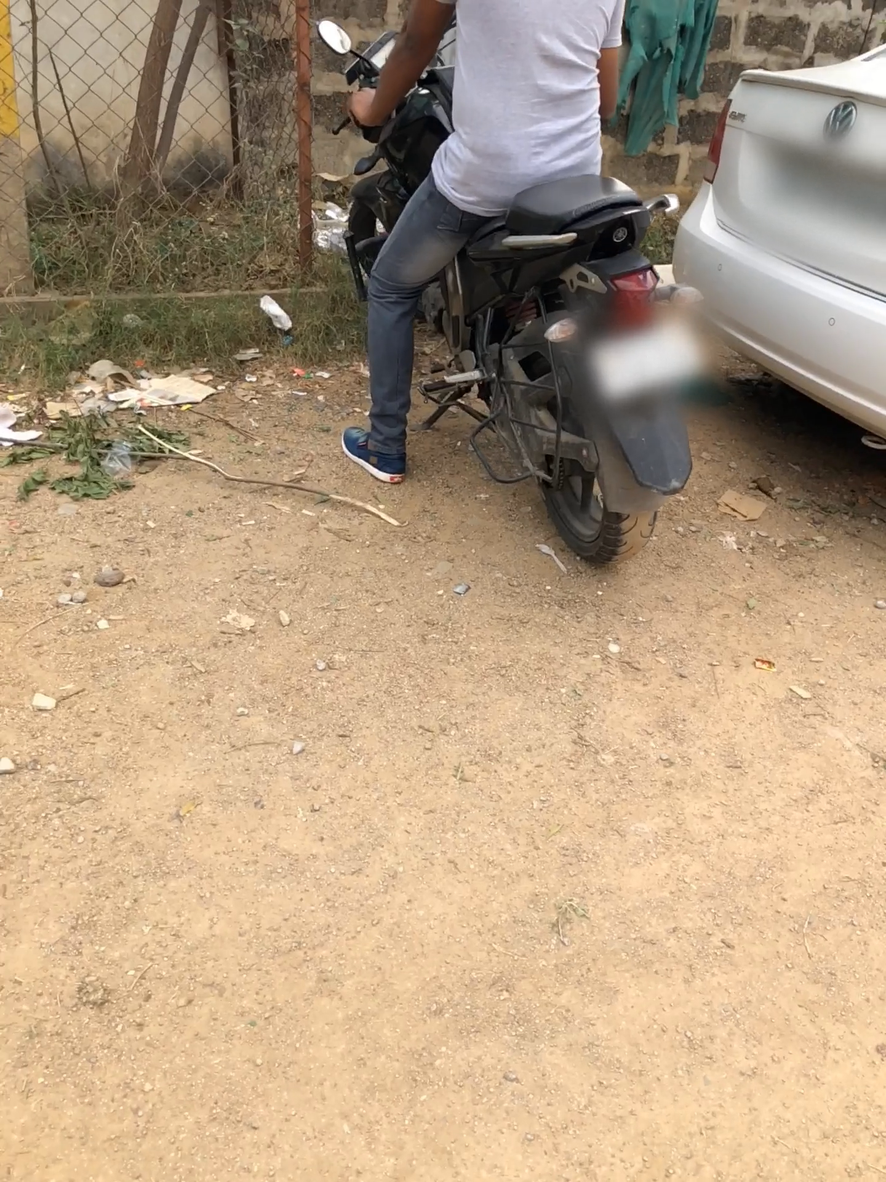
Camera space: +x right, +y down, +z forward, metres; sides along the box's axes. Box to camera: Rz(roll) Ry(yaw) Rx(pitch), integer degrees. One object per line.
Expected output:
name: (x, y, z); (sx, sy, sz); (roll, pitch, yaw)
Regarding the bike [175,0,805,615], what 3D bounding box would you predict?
bike: (-0.085, -0.960, 2.234); (0.528, 1.094, 1.624); (-12, 42, -25)
